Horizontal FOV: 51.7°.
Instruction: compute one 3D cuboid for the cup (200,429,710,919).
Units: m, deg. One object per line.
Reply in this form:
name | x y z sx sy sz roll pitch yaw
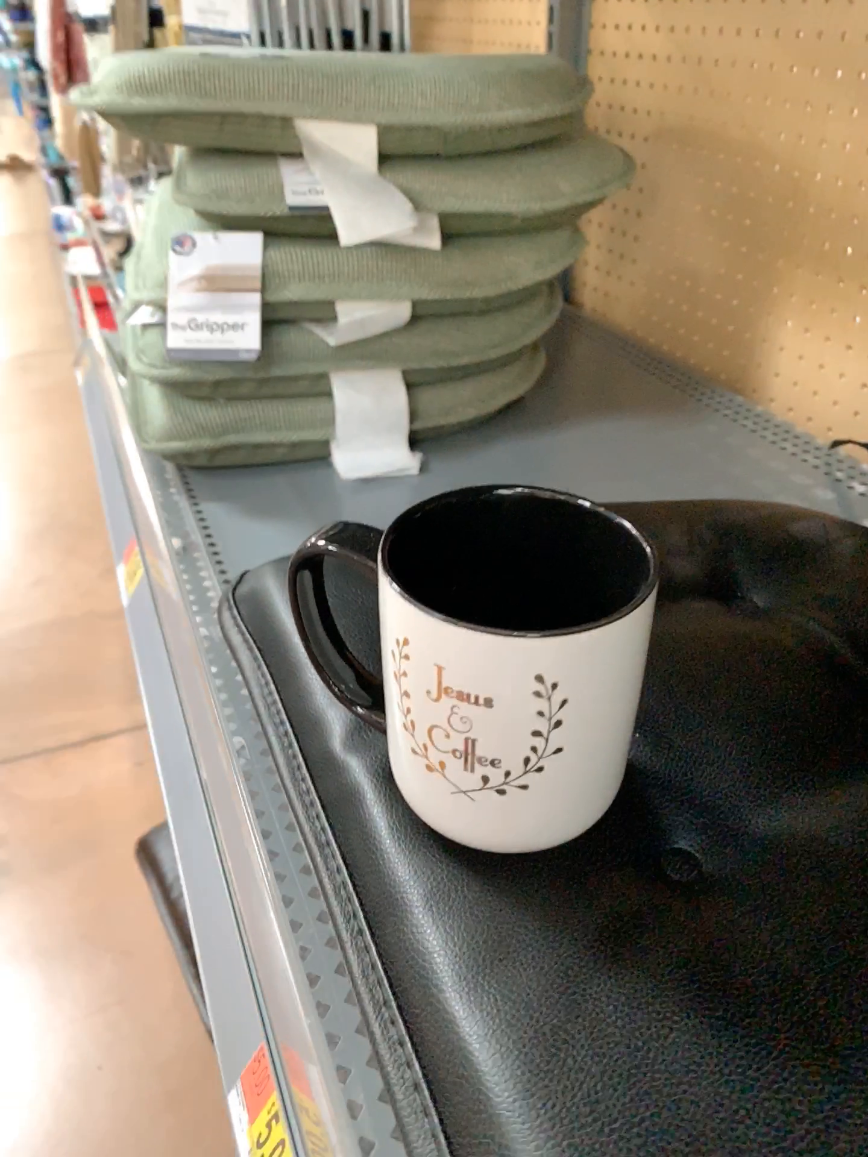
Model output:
cup | 0.009 0.024 0.331 0.142 0.104 0.102 17 35 26
